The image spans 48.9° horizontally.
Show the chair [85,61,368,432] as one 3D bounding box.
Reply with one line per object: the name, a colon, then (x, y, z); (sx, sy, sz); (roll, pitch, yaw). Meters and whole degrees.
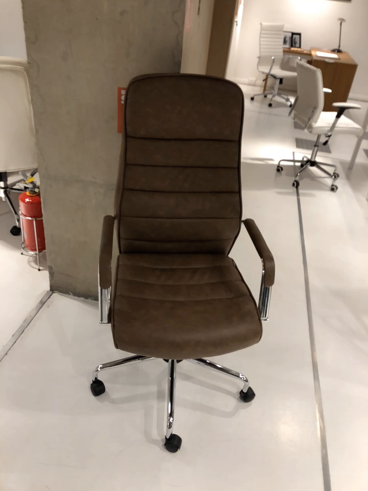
chair: (0.068, 0.009, 1.299); (0.640, 0.962, 0.635); (2, 32, -7)
